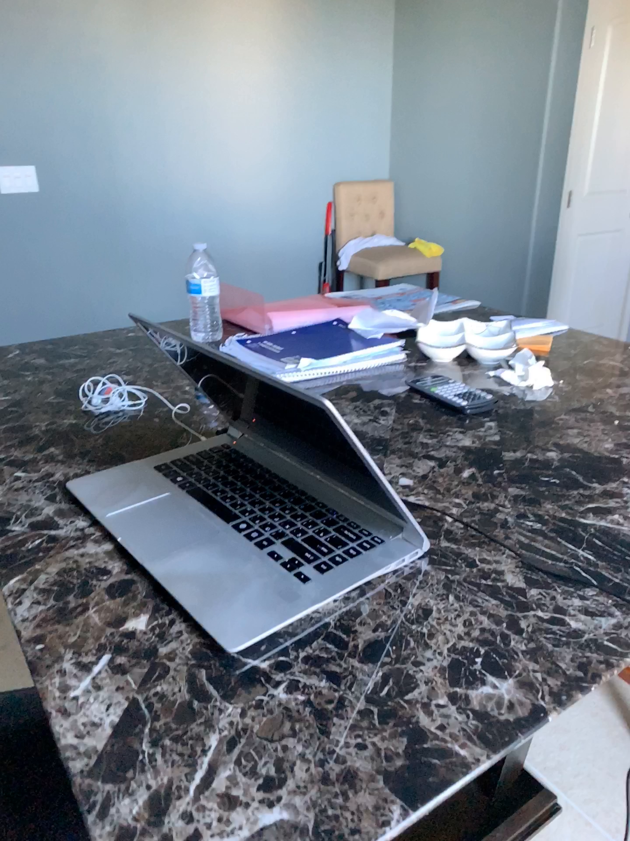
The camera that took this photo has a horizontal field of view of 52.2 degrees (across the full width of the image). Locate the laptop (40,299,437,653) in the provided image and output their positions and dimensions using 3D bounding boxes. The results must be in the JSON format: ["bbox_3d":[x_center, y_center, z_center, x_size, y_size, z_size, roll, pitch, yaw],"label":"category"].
[{"bbox_3d":[-0.094,0.013,0.674,0.234,0.188,0.362,-18,28,-36],"label":"laptop"}]
